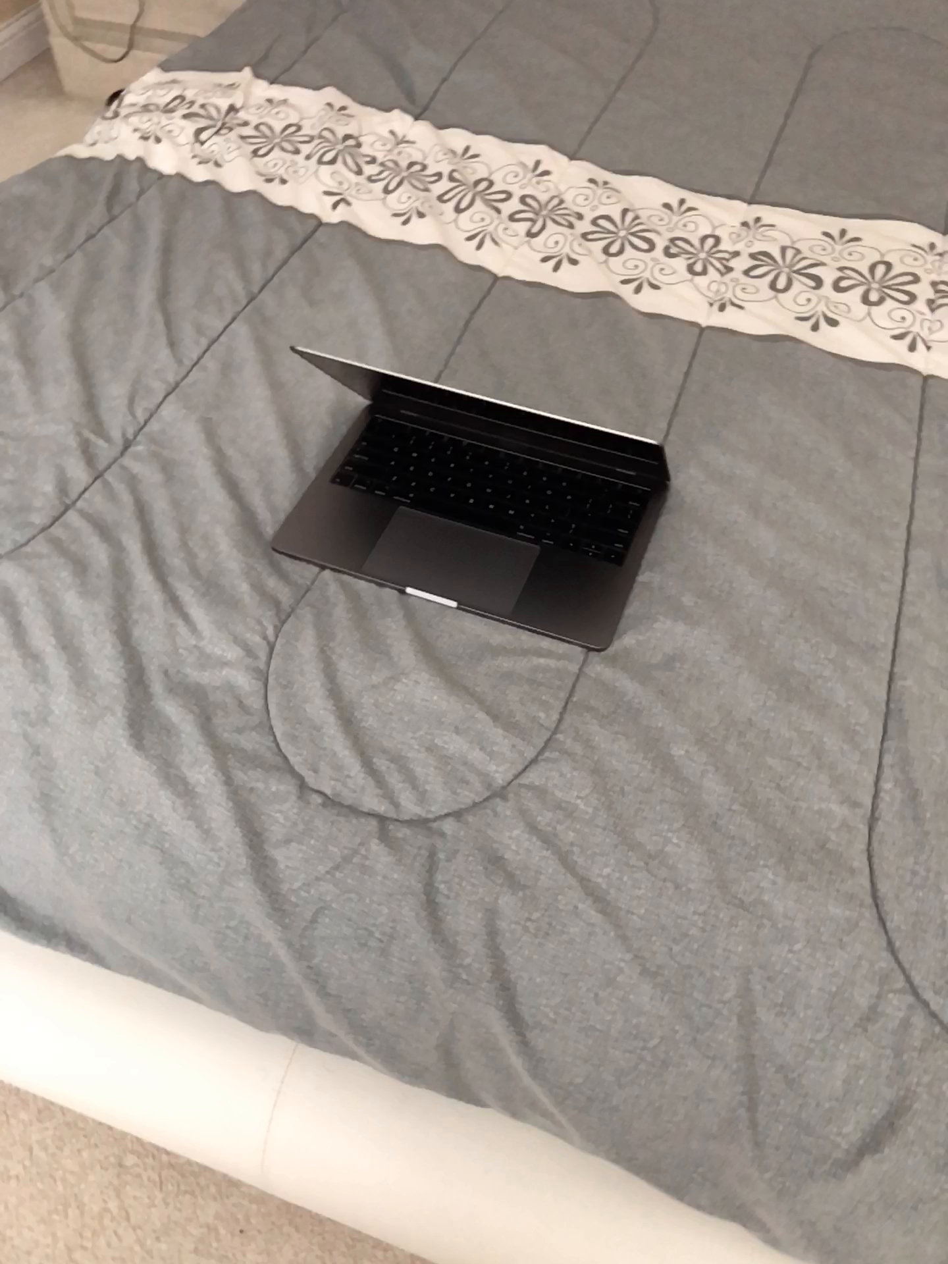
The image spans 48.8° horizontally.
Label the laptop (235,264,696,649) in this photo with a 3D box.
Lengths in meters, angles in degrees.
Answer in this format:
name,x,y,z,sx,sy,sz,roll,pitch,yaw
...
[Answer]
name,x,y,z,sx,sy,sz,roll,pitch,yaw
laptop,0.000,-0.141,0.799,0.278,0.140,0.195,17,52,13
